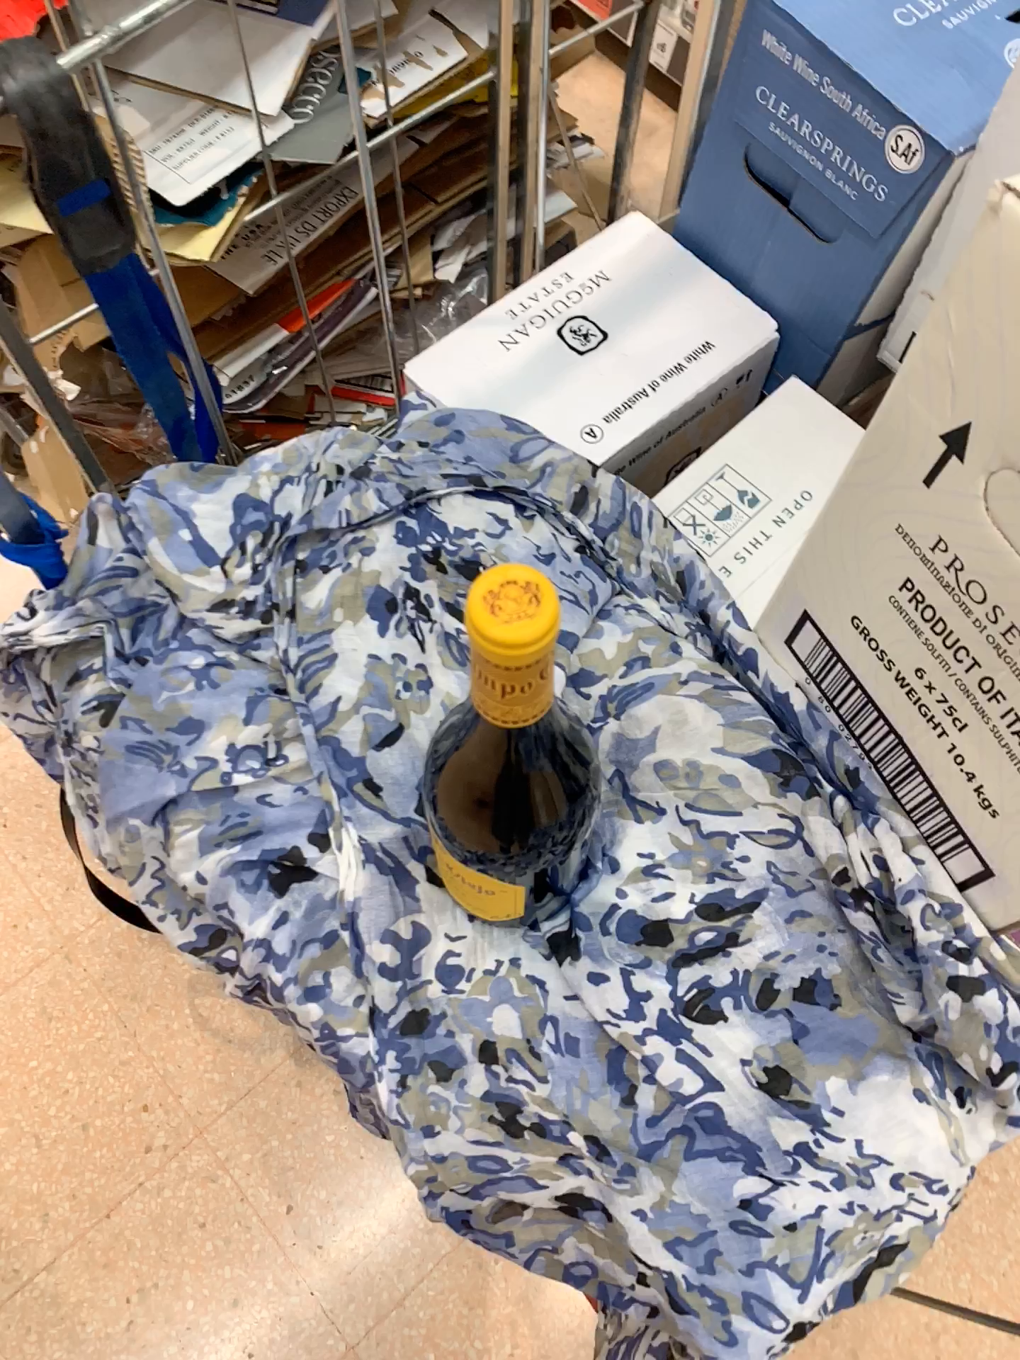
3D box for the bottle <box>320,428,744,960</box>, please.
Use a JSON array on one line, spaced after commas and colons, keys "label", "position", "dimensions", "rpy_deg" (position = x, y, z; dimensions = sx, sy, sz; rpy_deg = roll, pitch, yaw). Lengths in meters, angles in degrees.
[{"label": "bottle", "position": [0.000, 0.031, 0.430], "dimensions": [0.090, 0.271, 0.090], "rpy_deg": [1, 66, -2]}]
